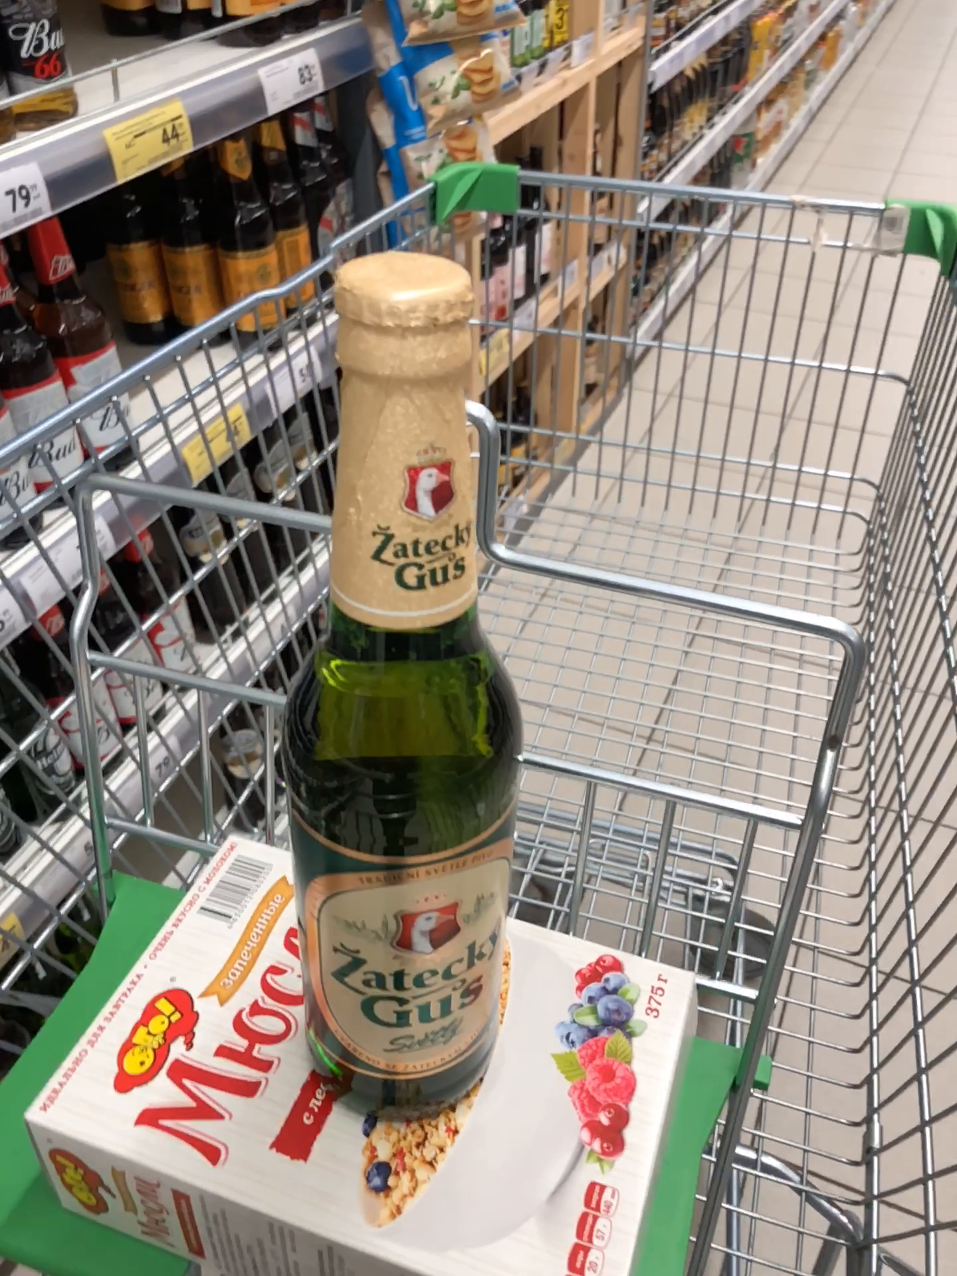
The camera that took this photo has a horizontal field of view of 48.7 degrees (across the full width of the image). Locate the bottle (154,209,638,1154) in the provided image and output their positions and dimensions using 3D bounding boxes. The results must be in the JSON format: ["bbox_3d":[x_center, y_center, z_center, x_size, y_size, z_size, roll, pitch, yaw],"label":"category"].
[{"bbox_3d":[-0.021,0.035,0.286,0.080,0.268,0.070,-6,40,-9],"label":"bottle"}]
